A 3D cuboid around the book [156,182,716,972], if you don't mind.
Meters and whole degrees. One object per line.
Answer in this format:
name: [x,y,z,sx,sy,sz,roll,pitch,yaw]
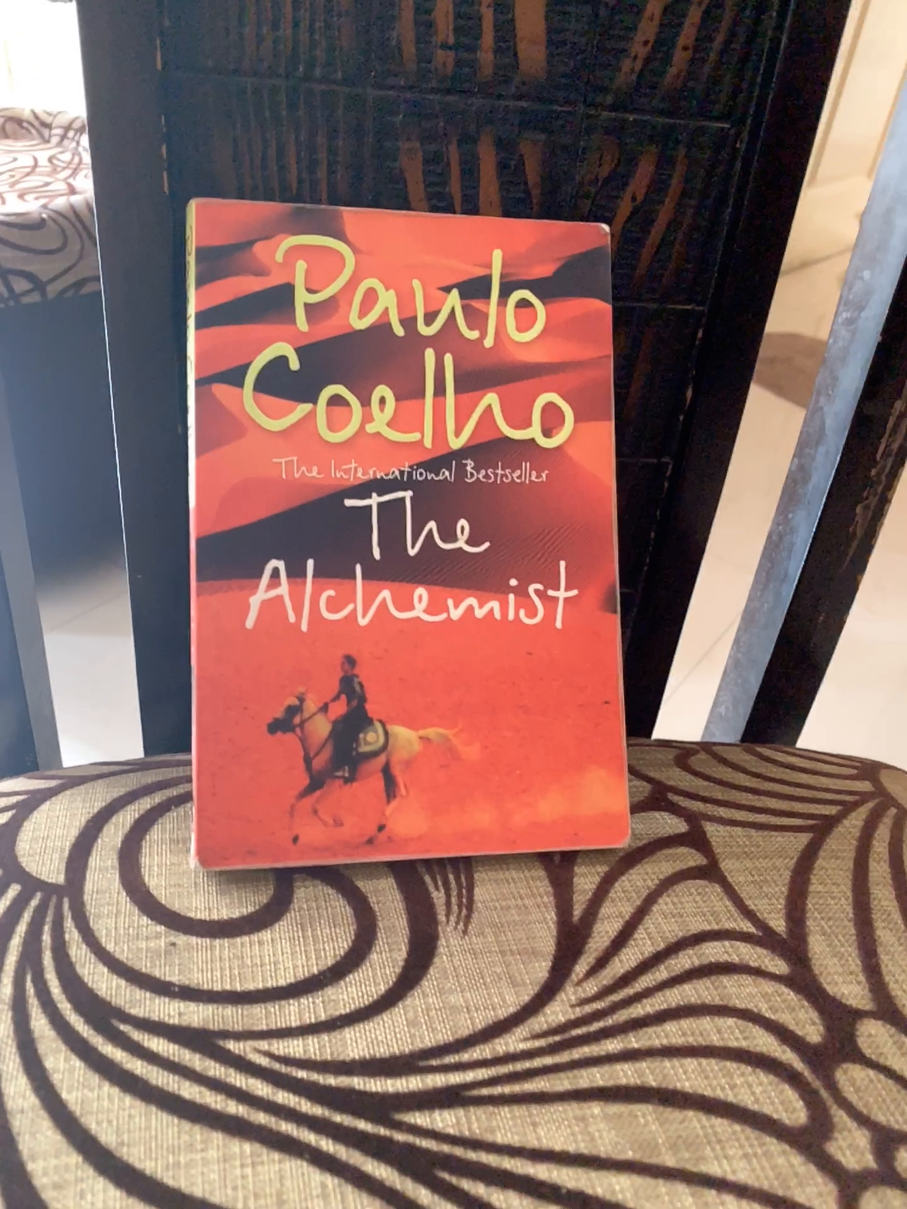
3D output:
book: [-0.007,-0.013,0.267,0.140,0.200,0.030,-3,-7,-15]
